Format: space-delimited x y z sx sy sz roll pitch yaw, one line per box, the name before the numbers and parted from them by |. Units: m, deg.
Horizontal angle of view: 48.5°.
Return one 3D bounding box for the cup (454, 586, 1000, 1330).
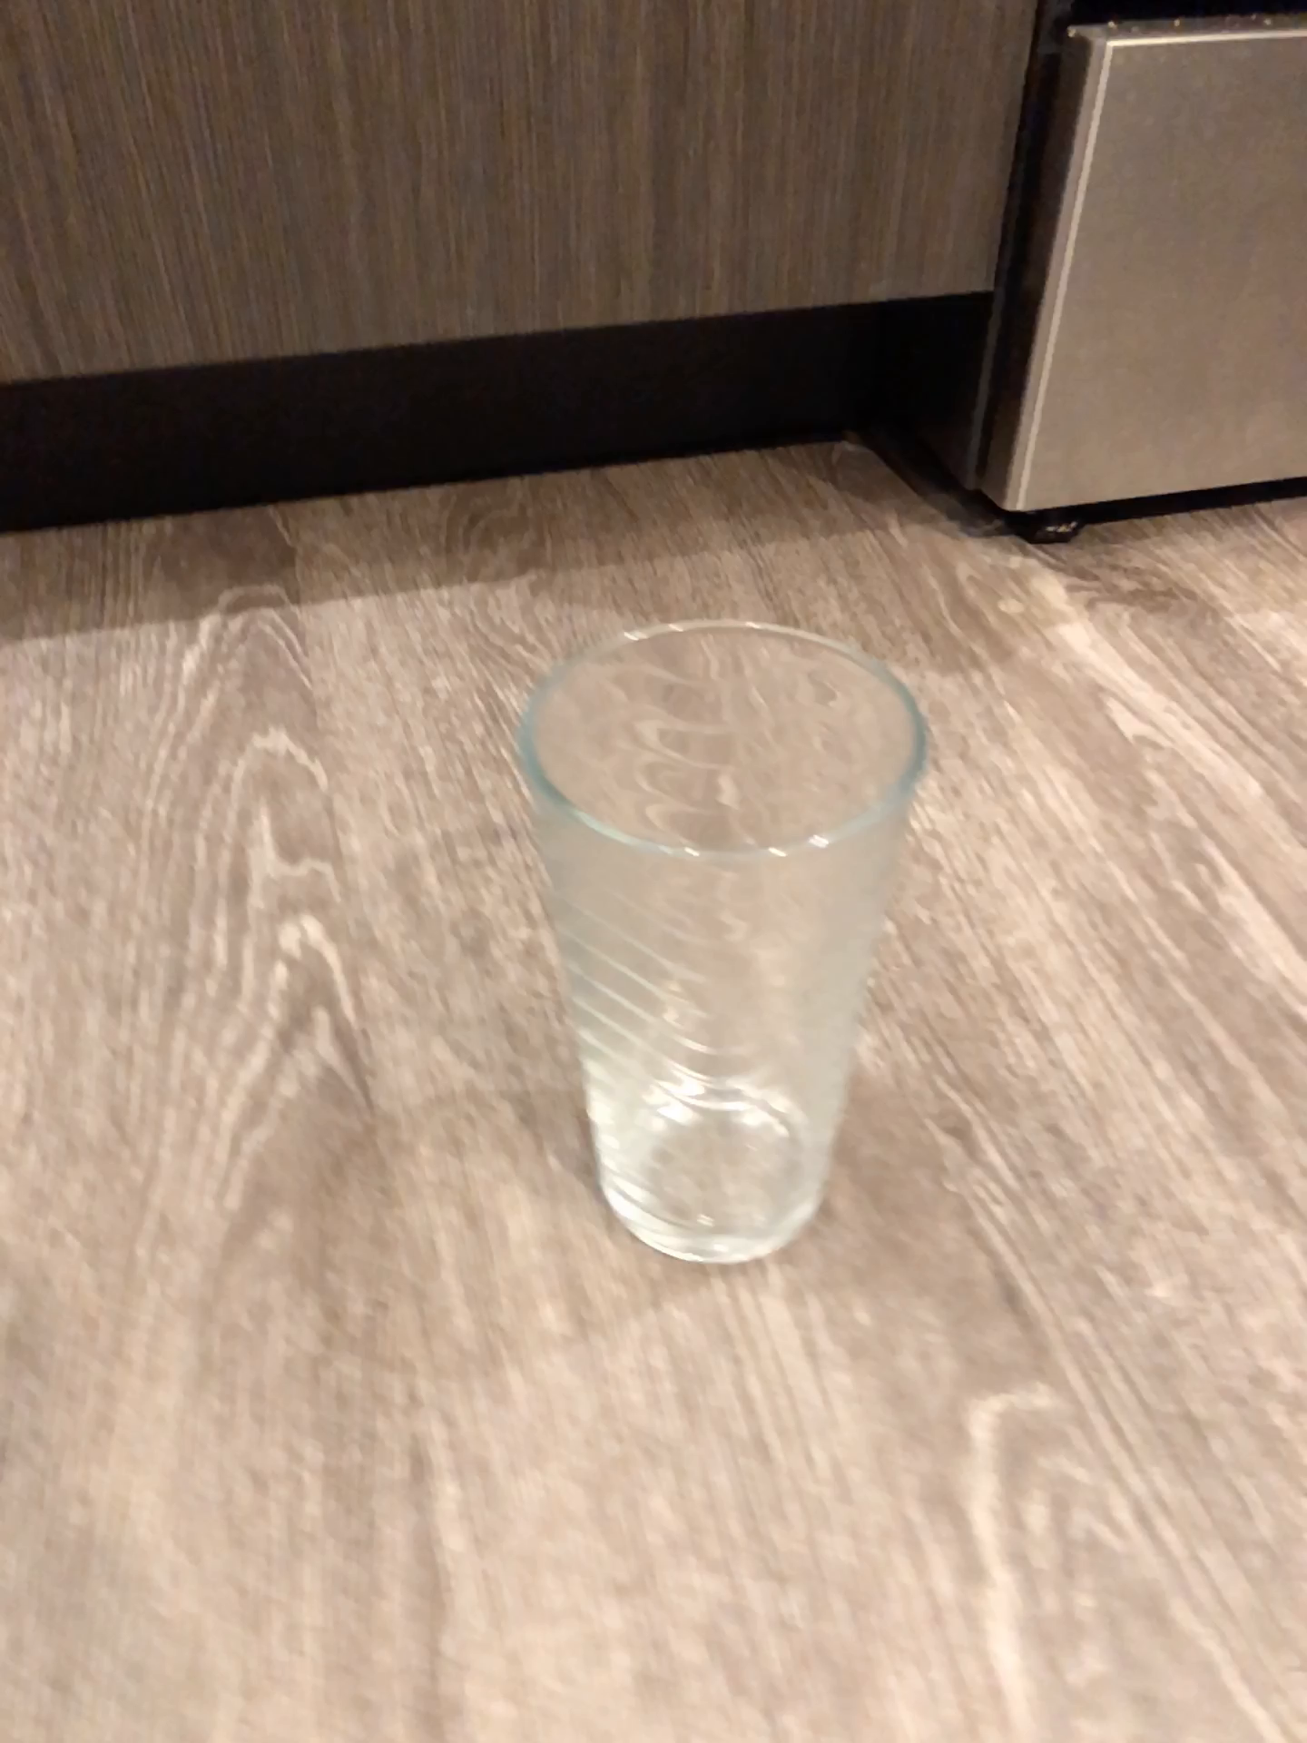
cup | 0.011 0.022 0.348 0.090 0.139 0.090 0 41 0
